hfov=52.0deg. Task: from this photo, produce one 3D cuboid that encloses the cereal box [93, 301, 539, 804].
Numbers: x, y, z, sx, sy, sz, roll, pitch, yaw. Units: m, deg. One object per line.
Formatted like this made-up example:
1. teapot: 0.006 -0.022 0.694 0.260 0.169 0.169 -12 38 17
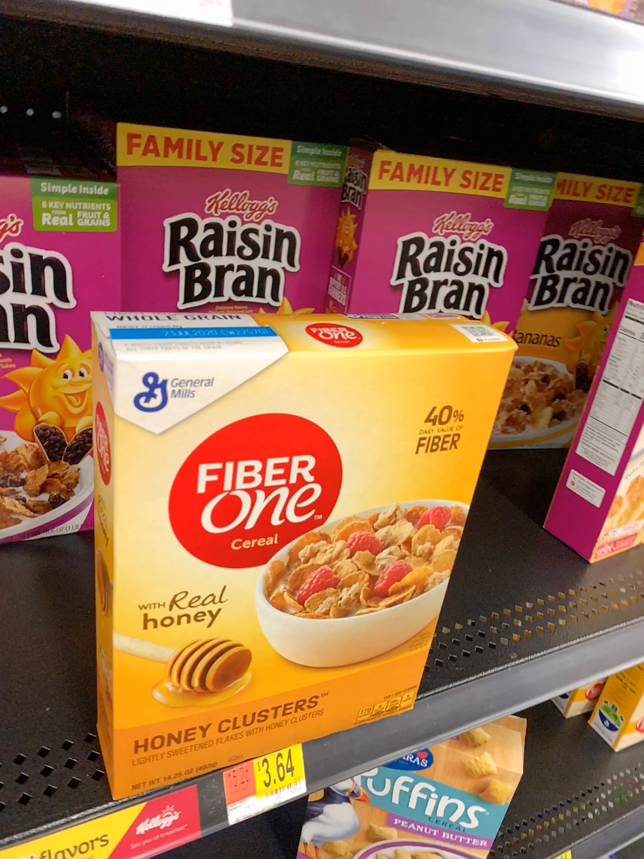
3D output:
1. cereal box: -0.012 0.064 0.356 0.200 0.259 0.050 -5 30 -25
